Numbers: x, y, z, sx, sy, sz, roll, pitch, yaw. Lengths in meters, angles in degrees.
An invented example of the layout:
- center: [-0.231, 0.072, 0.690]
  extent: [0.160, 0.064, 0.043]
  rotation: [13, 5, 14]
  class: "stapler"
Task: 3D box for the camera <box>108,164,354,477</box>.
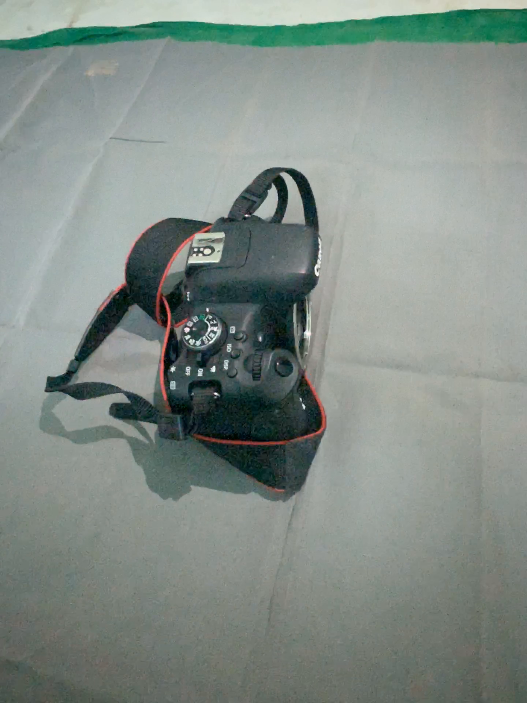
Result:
- center: [-0.004, -0.019, 0.284]
  extent: [0.090, 0.088, 0.133]
  rotation: [4, 56, 10]
  class: "camera"
